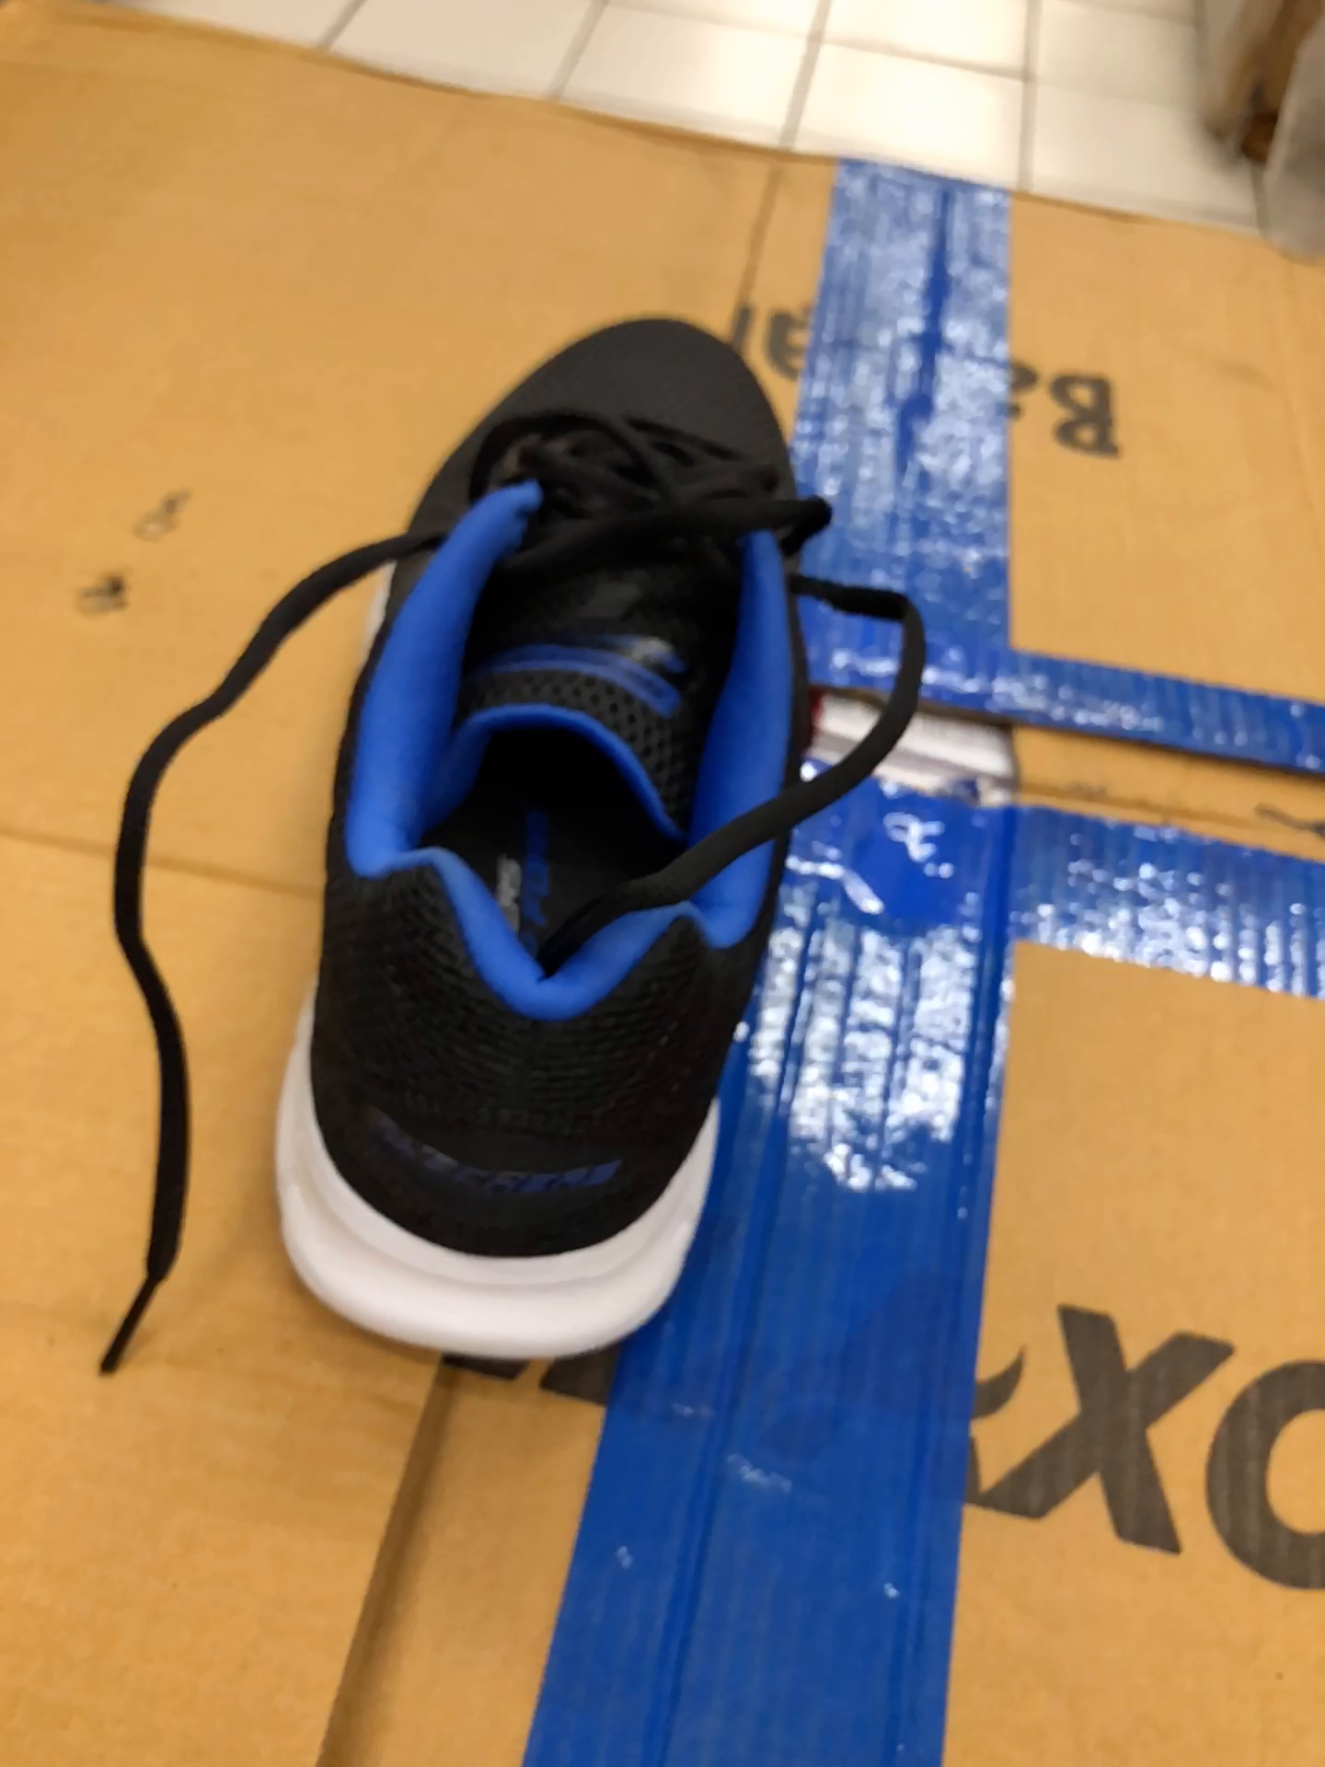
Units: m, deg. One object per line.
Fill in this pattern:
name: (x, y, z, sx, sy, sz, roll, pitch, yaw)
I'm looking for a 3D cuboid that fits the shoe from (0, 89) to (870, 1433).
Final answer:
shoe: (-0.026, -0.047, 0.323, 0.114, 0.106, 0.279, 9, 51, -1)
